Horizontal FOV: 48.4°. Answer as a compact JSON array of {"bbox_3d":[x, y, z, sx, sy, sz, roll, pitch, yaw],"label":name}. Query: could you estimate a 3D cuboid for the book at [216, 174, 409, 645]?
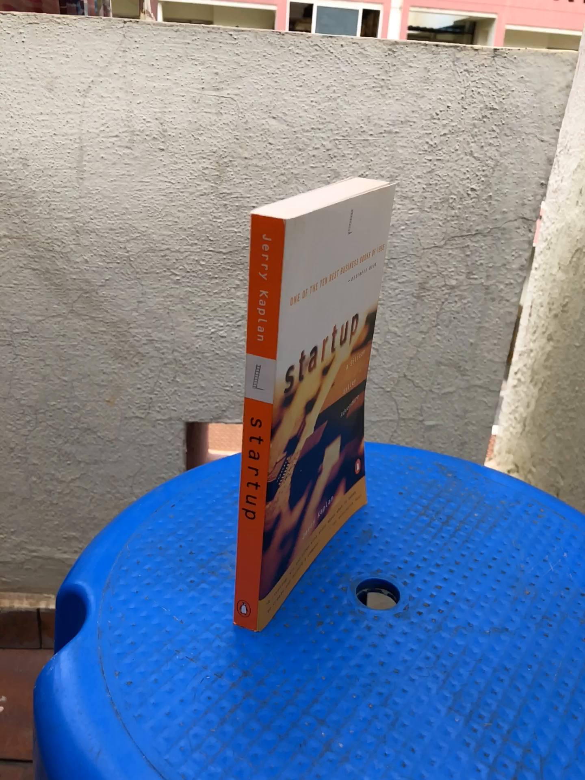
[{"bbox_3d":[0.012,0.002,0.331,0.030,0.199,0.141,14,26,21],"label":"book"}]
